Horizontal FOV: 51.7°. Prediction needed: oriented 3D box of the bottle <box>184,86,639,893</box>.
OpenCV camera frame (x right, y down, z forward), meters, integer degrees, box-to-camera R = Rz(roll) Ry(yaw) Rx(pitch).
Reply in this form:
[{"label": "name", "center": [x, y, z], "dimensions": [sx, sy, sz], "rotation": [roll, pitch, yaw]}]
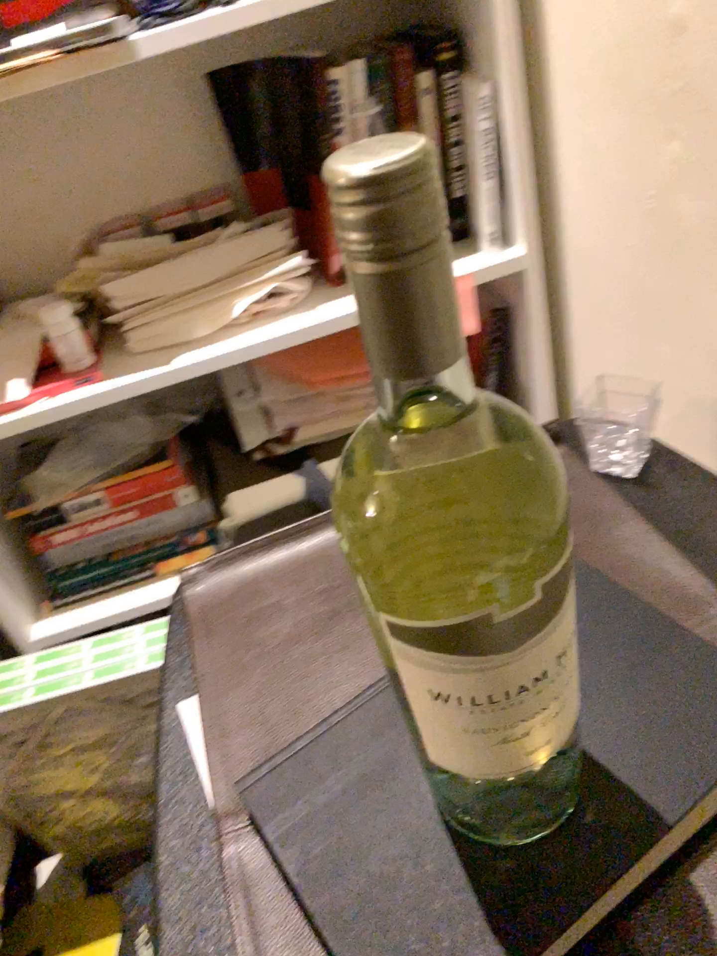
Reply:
[{"label": "bottle", "center": [0.038, 0.027, 0.286], "dimensions": [0.090, 0.298, 0.091], "rotation": [-11, 35, 8]}]
